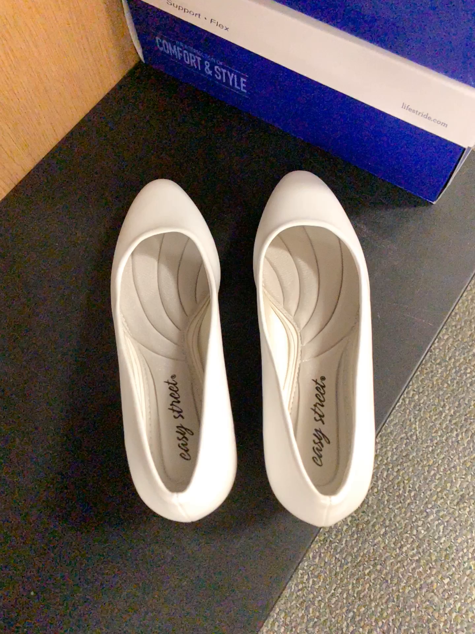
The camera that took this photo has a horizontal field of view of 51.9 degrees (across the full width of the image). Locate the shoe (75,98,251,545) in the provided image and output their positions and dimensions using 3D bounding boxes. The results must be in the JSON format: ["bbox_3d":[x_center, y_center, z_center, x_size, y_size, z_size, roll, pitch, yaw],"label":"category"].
[{"bbox_3d":[-0.047,0.000,0.313,0.080,0.100,0.250,-7,70,0],"label":"shoe"}]

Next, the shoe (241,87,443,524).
[{"bbox_3d":[0.051,-0.007,0.314,0.090,0.110,0.250,0,70,2],"label":"shoe"}]
